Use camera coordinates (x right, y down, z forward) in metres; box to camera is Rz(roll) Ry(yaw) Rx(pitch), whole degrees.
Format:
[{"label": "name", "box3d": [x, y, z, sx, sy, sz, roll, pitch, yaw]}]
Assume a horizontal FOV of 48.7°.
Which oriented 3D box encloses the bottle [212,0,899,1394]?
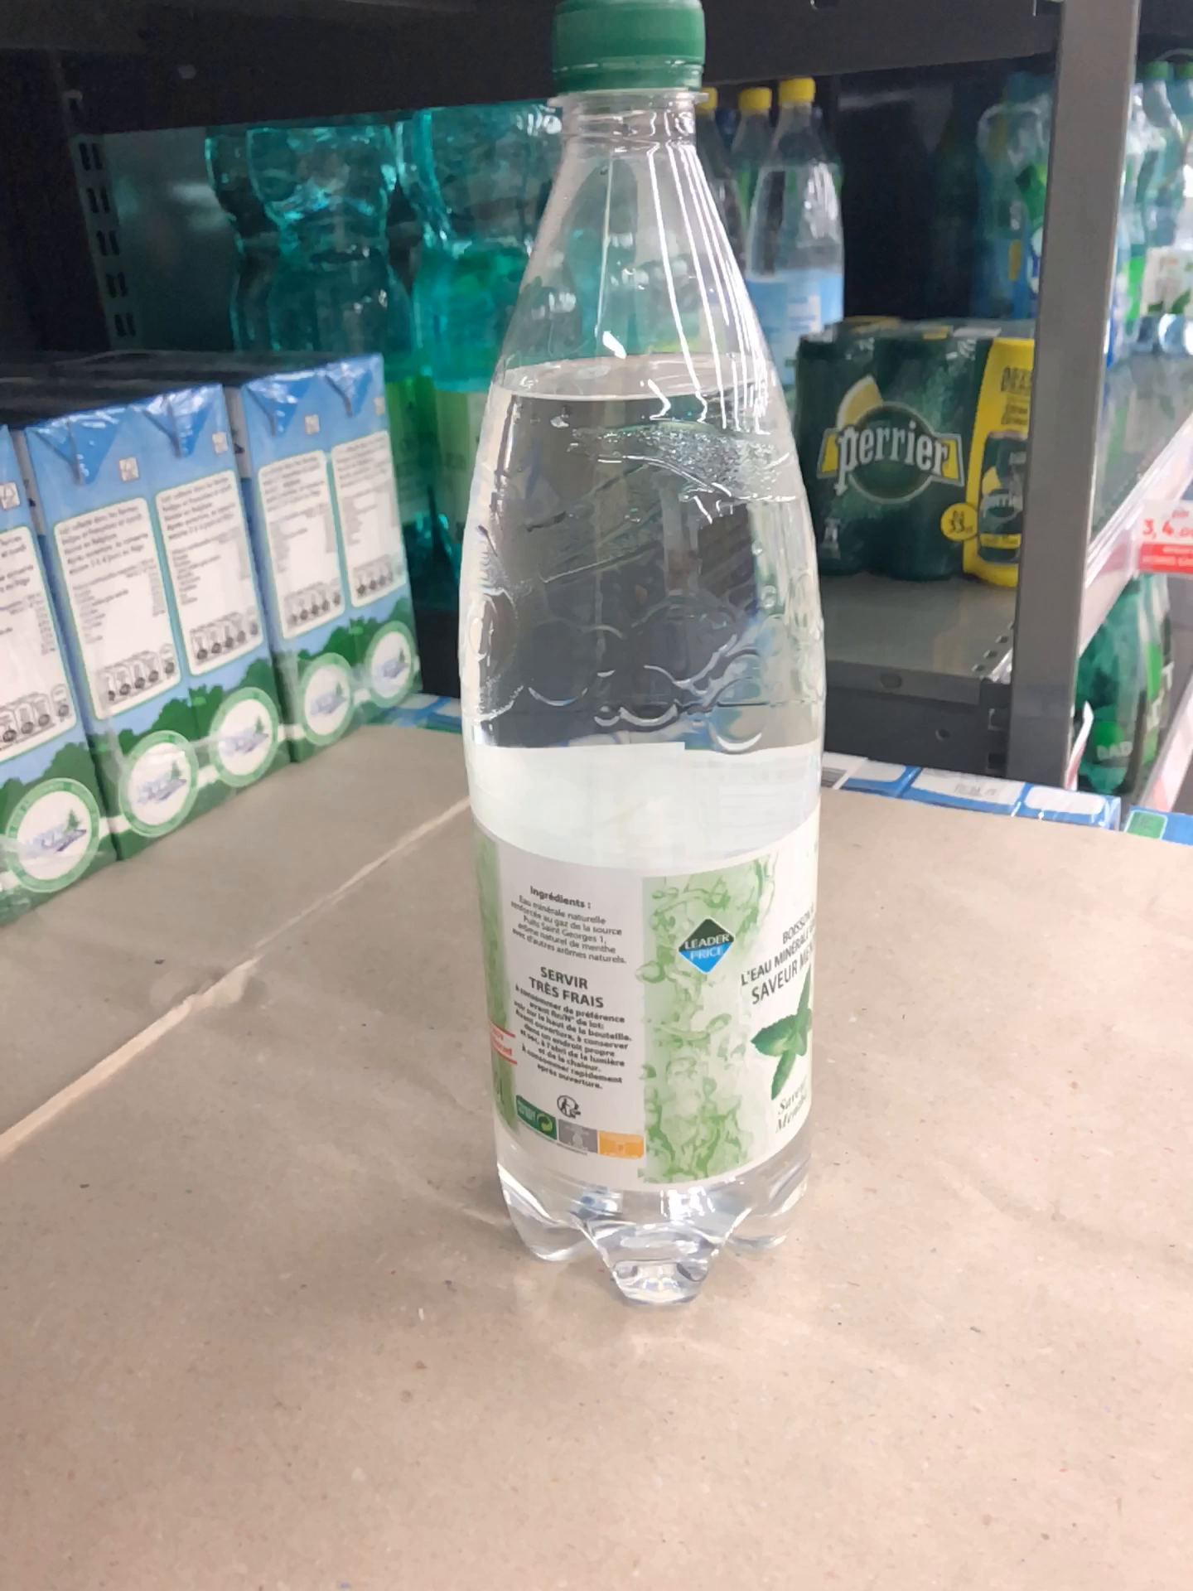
[{"label": "bottle", "box3d": [0.005, -0.021, 0.311, 0.090, 0.298, 0.101, 12, 29, 30]}]
